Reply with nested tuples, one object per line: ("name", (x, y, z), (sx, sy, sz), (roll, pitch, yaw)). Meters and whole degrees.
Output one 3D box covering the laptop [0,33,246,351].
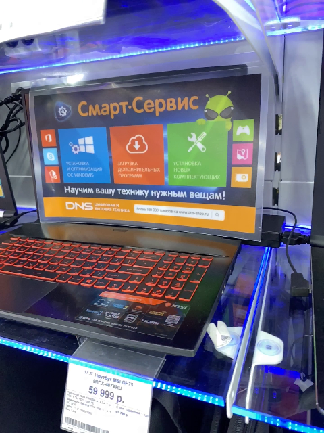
("laptop", (-0.116, -0.059, 0.444), (0.405, 0.237, 0.287), (3, 20, 22))
